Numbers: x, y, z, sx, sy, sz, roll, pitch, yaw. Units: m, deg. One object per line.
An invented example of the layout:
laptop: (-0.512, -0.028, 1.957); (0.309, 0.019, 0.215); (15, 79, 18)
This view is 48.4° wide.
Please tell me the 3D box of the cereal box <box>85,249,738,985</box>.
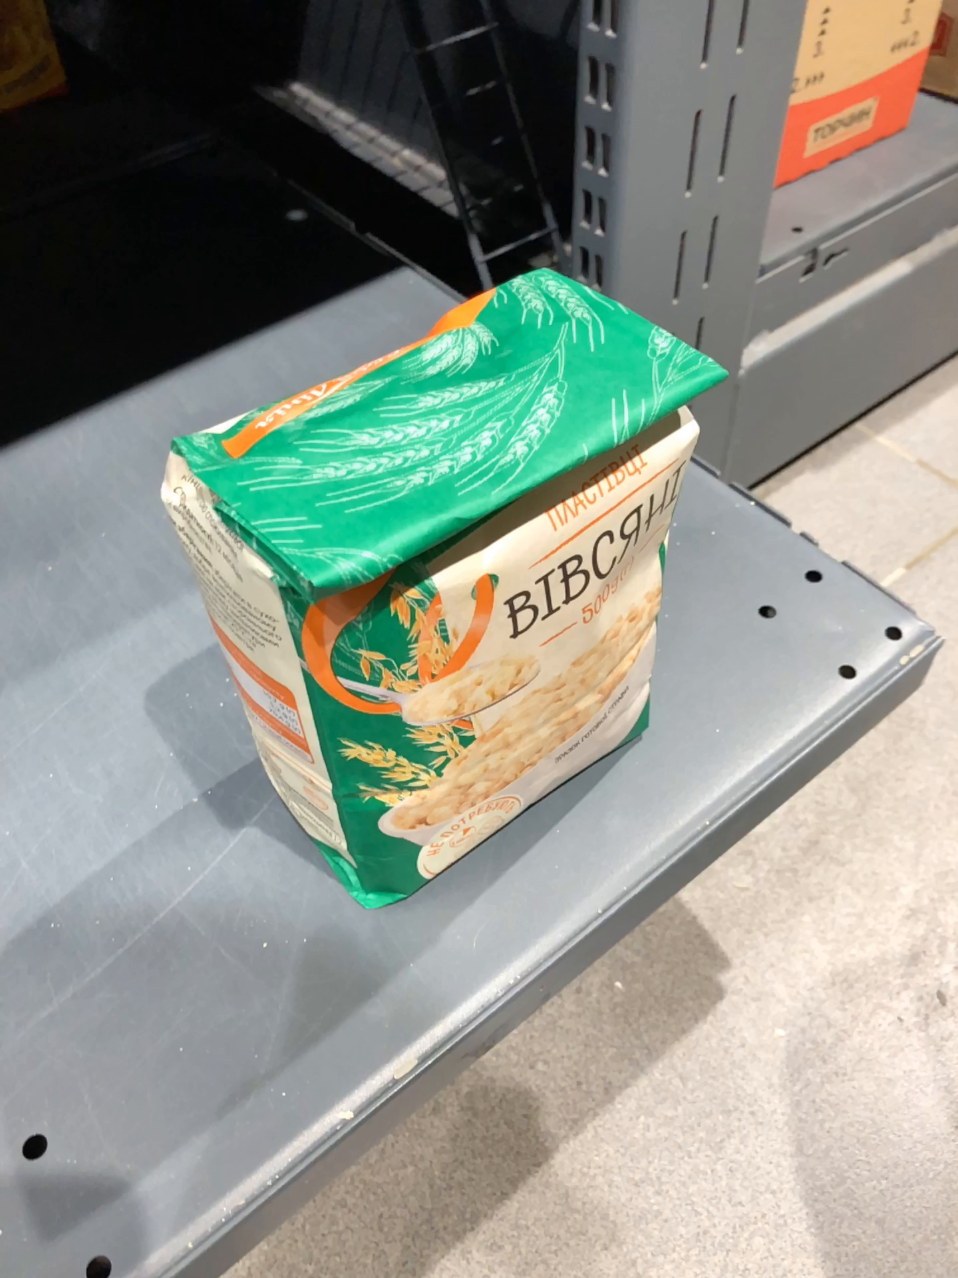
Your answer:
cereal box: (-0.010, -0.002, 0.278); (0.120, 0.139, 0.070); (-34, 56, -24)
